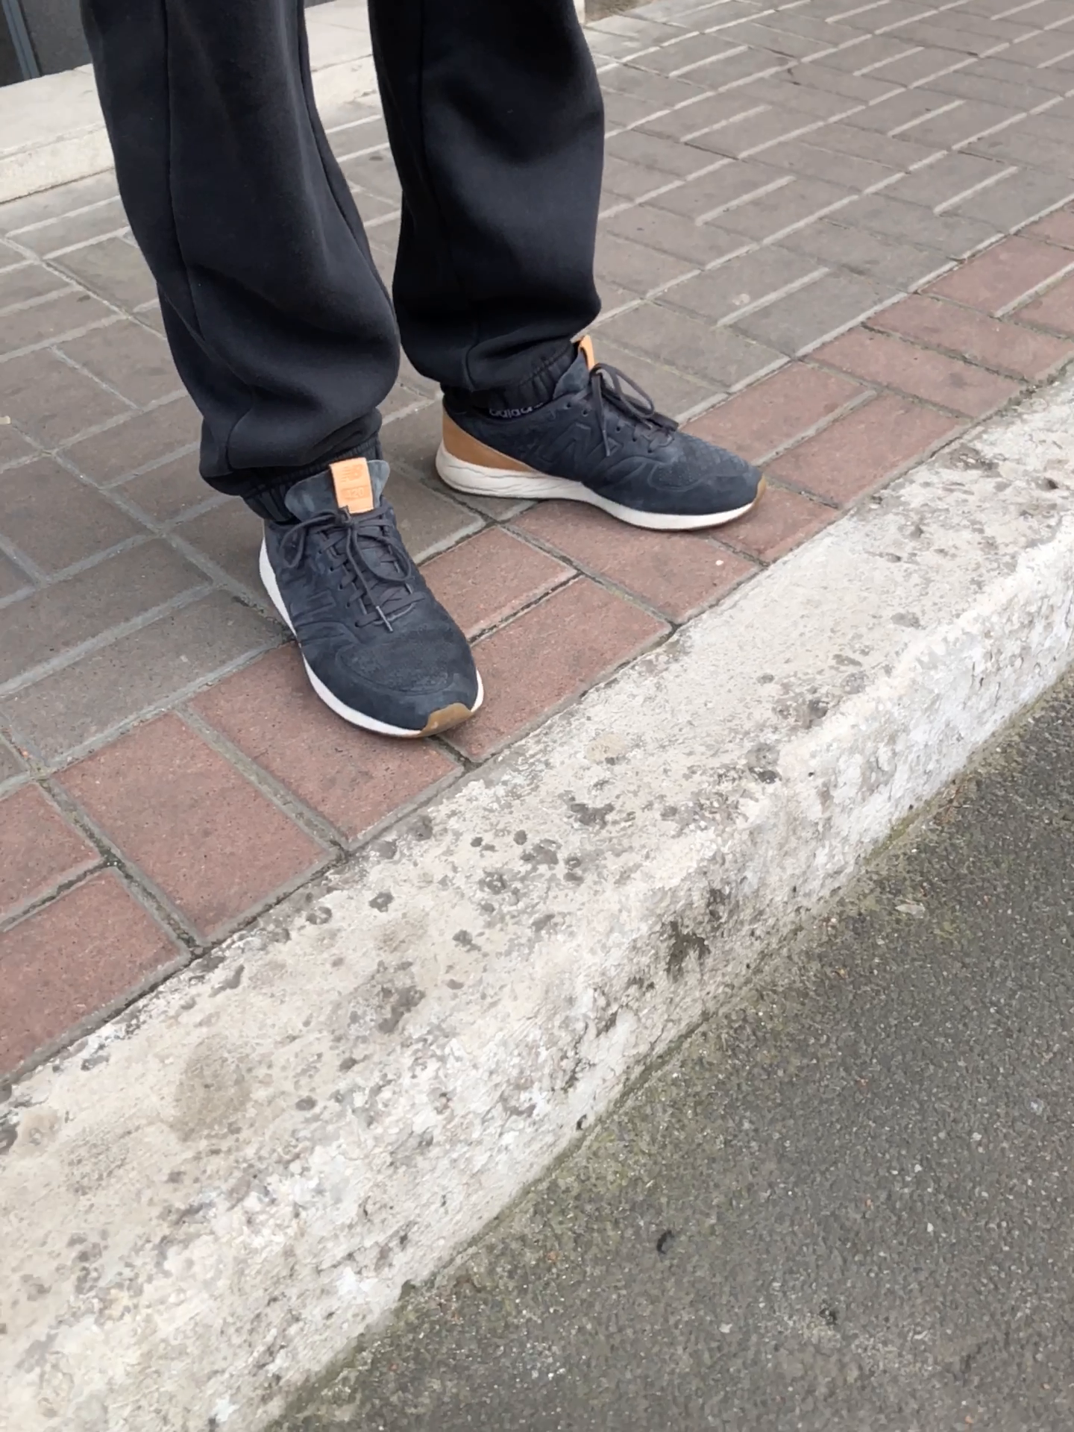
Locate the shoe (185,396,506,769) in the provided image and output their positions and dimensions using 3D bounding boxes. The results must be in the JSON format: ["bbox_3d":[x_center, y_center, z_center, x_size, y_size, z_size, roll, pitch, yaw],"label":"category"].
[{"bbox_3d":[-0.138,-0.105,0.817,0.104,0.109,0.282,-23,45,-20],"label":"shoe"}]

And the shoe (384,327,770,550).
[{"bbox_3d":[0.034,-0.227,0.947,0.280,0.109,0.105,11,44,17],"label":"shoe"}]
